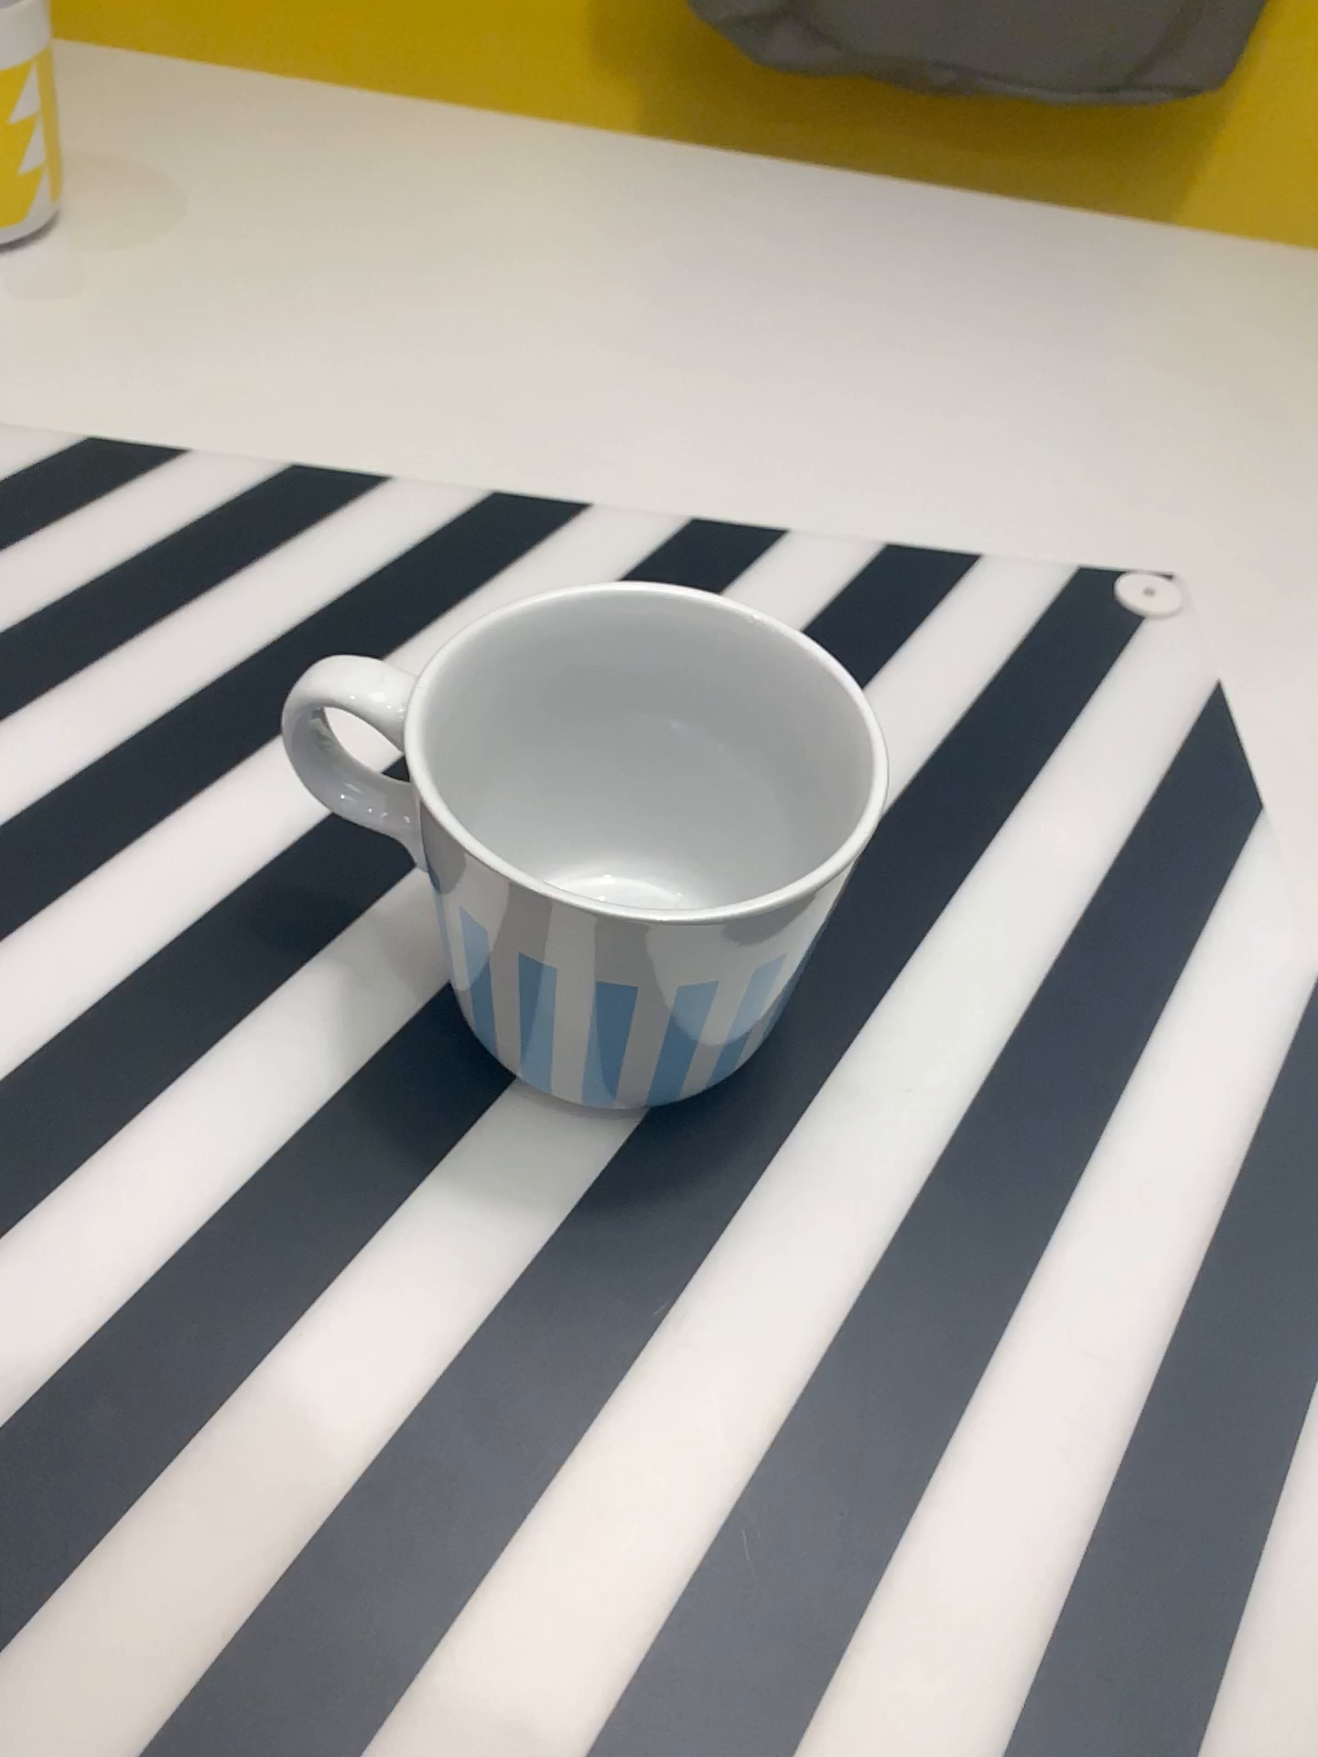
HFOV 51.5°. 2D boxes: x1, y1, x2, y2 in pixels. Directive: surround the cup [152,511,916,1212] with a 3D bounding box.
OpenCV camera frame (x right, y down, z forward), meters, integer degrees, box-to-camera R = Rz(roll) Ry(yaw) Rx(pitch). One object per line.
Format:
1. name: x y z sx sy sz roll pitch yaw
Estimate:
1. cup: -0.020 -0.005 0.261 0.110 0.070 0.080 18 48 6
